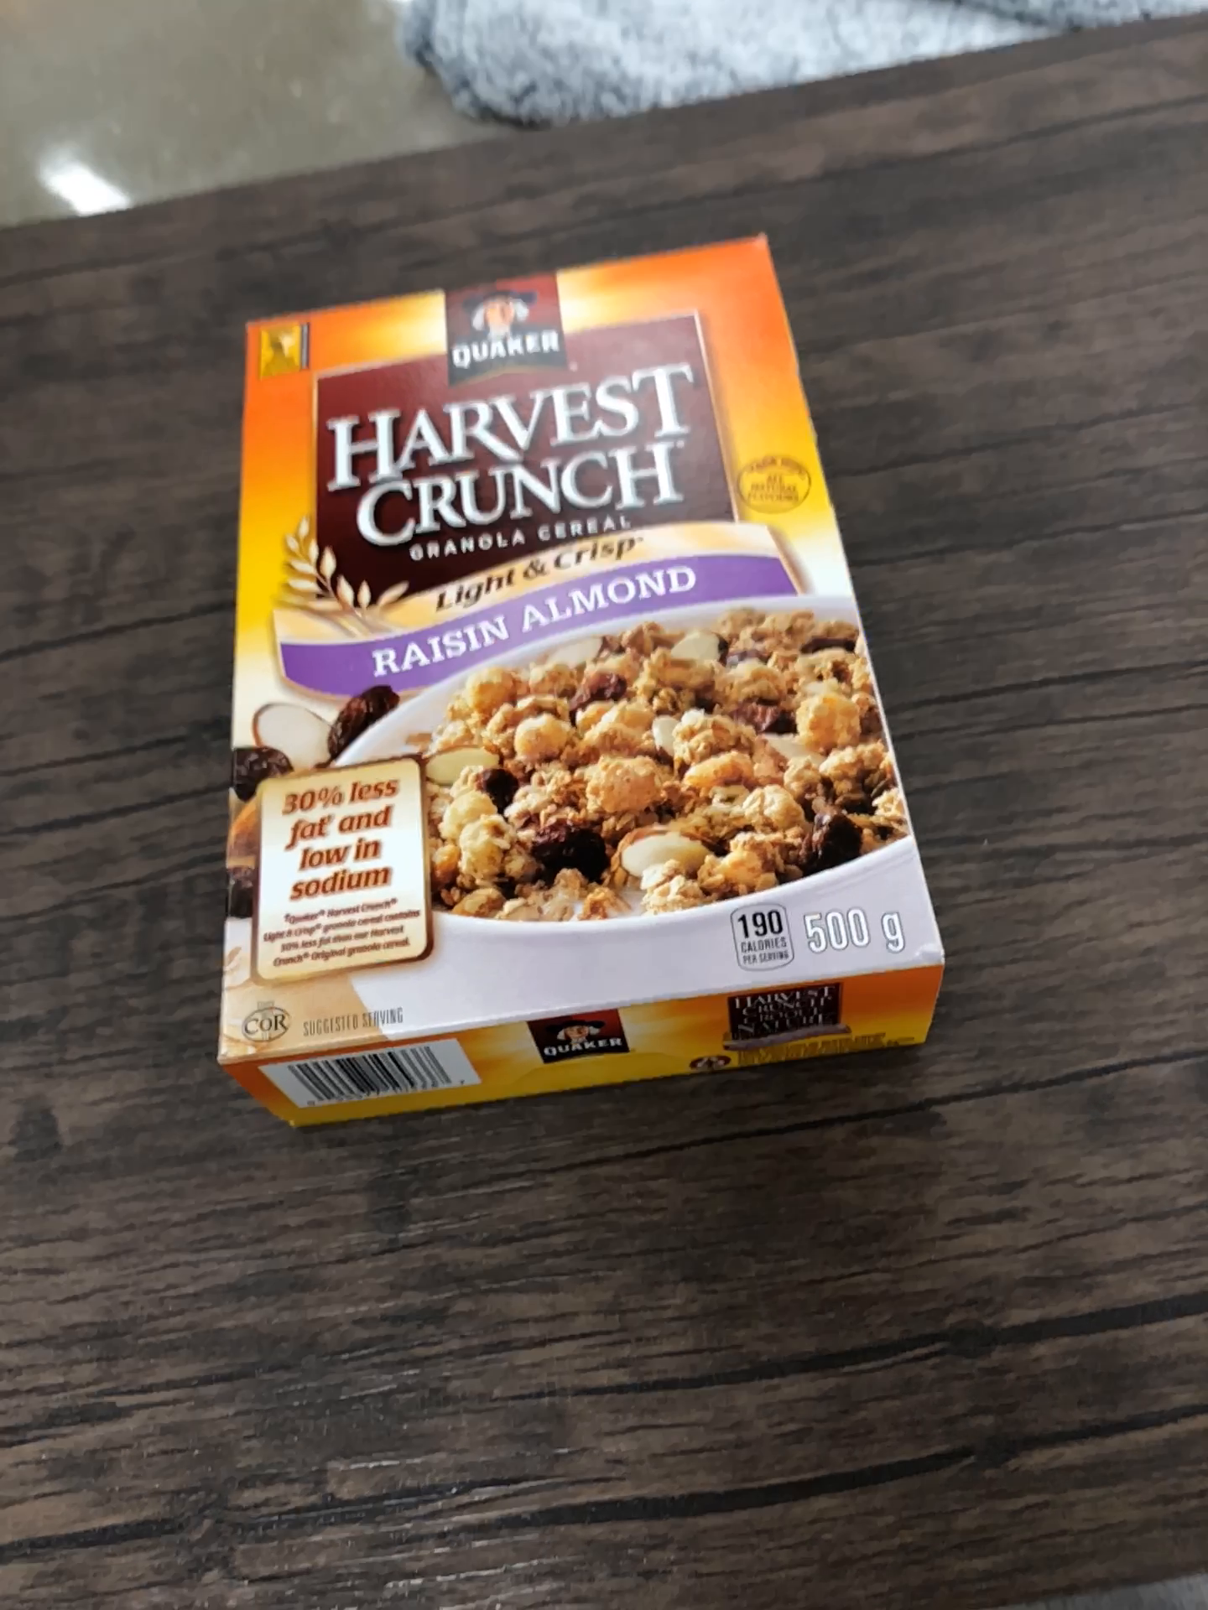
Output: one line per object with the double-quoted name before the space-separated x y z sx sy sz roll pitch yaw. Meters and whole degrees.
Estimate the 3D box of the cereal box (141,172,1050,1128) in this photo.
"cereal box" -0.012 -0.050 0.344 0.180 0.050 0.230 -8 61 3
